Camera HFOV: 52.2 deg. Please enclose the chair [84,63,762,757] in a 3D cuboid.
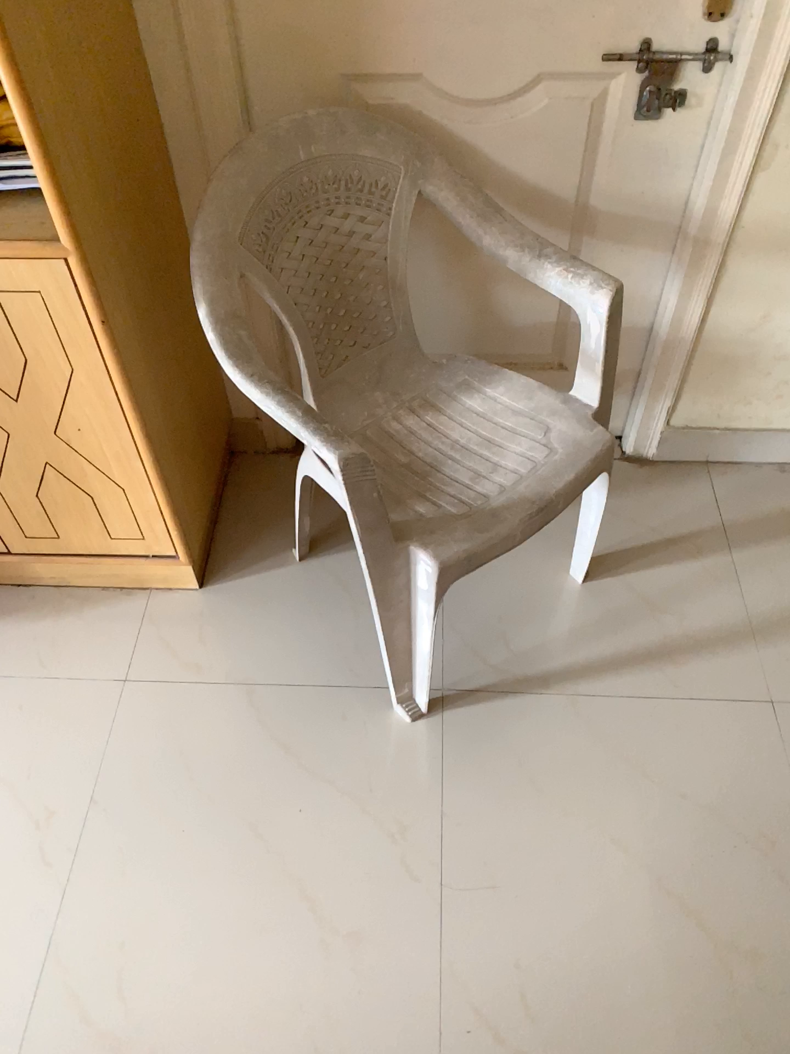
[{"bbox_3d":[0.020,-0.201,1.347,0.612,0.725,0.673,-32,56,-23],"label":"chair"}]
